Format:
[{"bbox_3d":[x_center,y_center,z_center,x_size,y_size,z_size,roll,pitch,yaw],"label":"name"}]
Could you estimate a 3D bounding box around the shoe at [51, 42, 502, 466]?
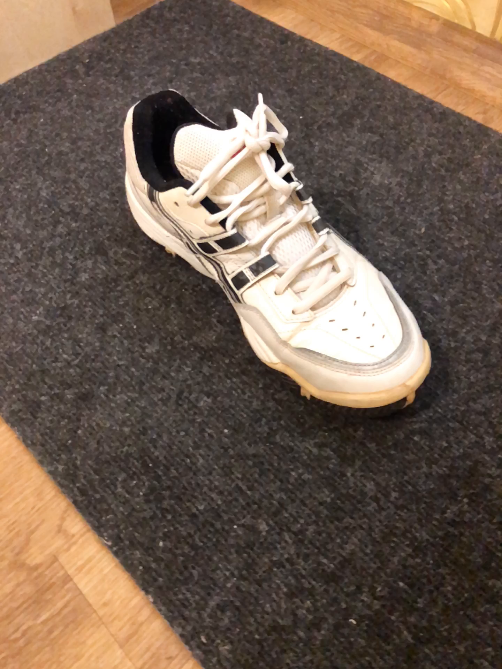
[{"bbox_3d":[0.003,-0.067,0.354,0.100,0.100,0.281,-37,61,-20],"label":"shoe"}]
